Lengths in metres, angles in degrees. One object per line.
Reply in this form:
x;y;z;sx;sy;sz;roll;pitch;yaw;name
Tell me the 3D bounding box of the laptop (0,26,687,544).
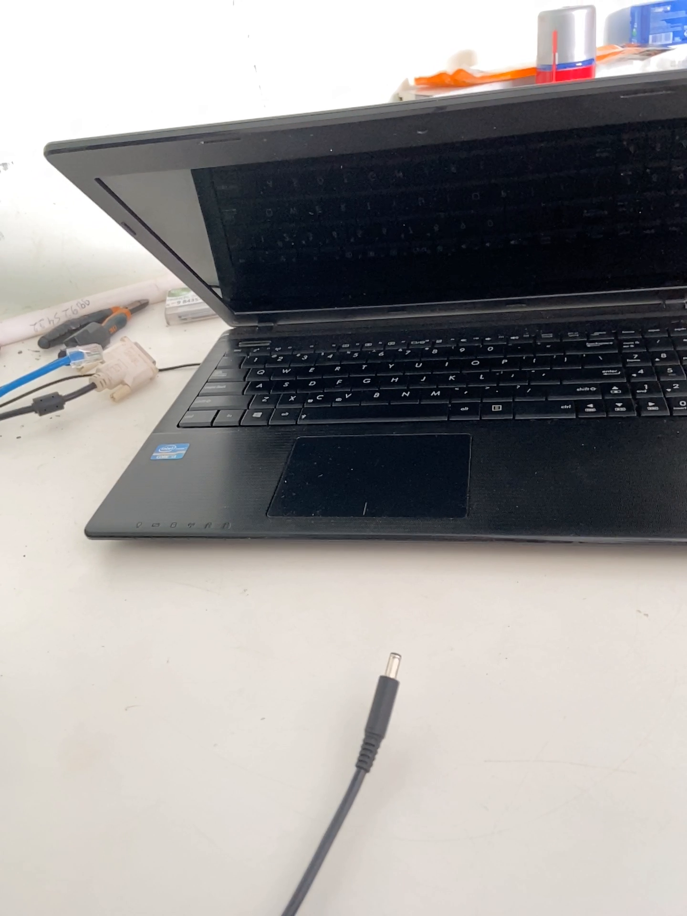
0.053;-0.105;0.398;0.375;0.166;0.248;-1;35;13;laptop
